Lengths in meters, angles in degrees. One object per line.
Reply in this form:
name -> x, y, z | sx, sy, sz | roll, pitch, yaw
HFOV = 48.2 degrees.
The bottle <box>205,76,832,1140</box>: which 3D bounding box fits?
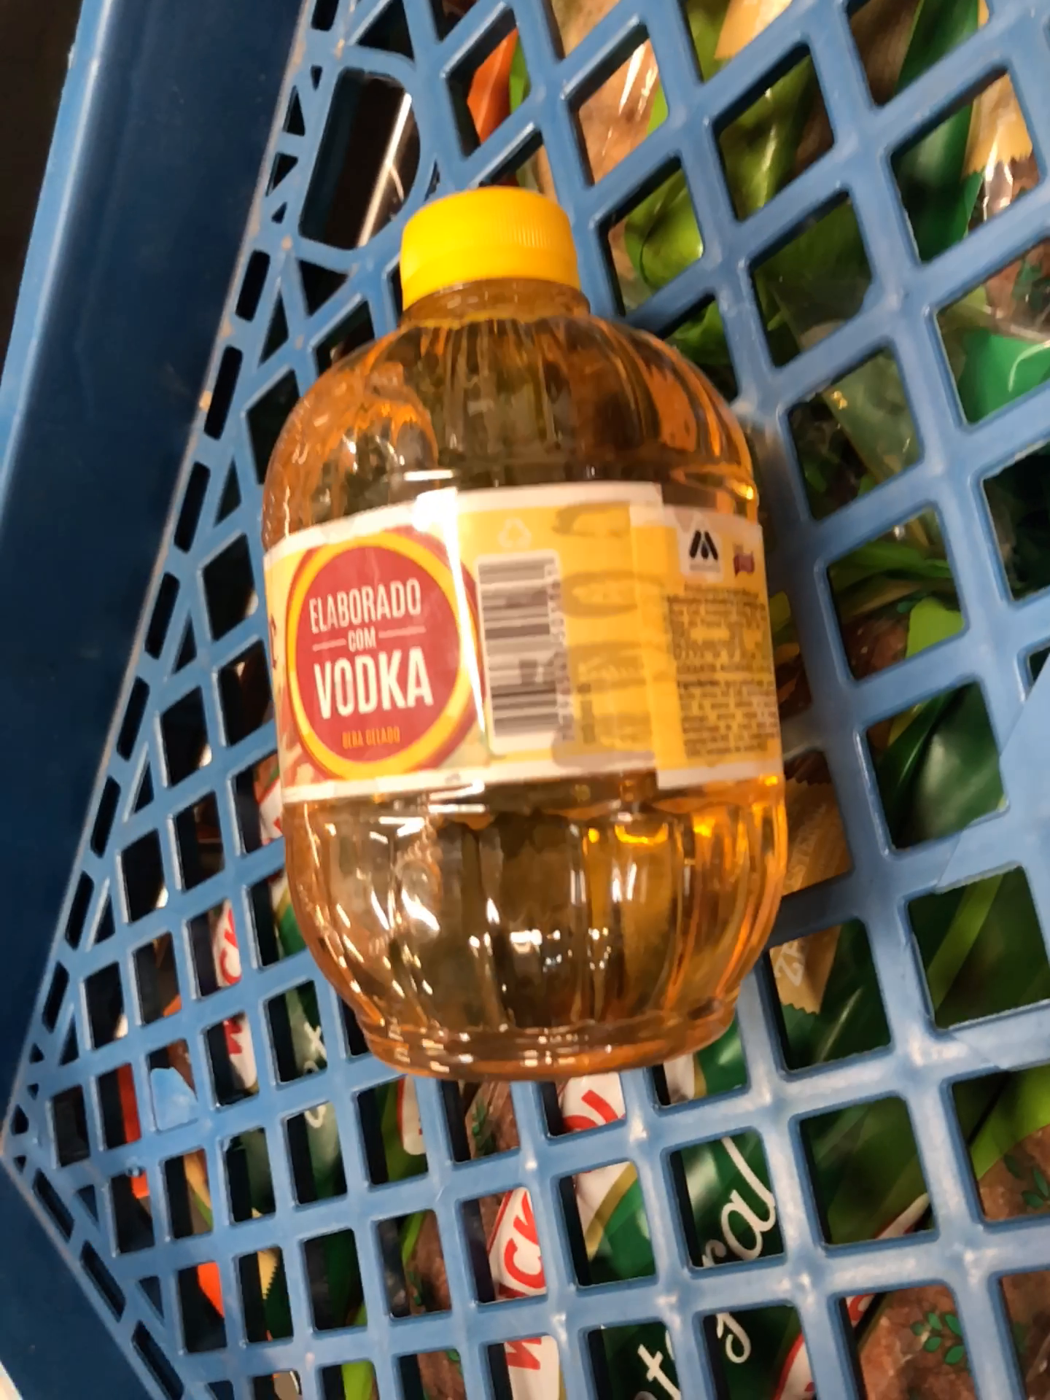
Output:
bottle -> -0.009, -0.012, 0.189 | 0.080, 0.070, 0.130 | 161, 104, -76
